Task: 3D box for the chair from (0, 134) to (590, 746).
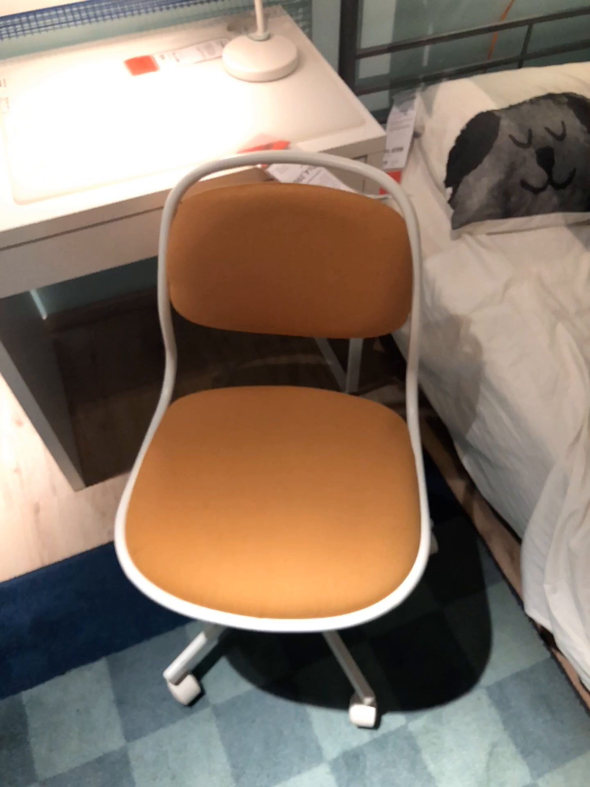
[{"bbox_3d":[-0.010,0.136,1.002,0.610,0.796,0.563,4,54,4],"label":"chair"}]
